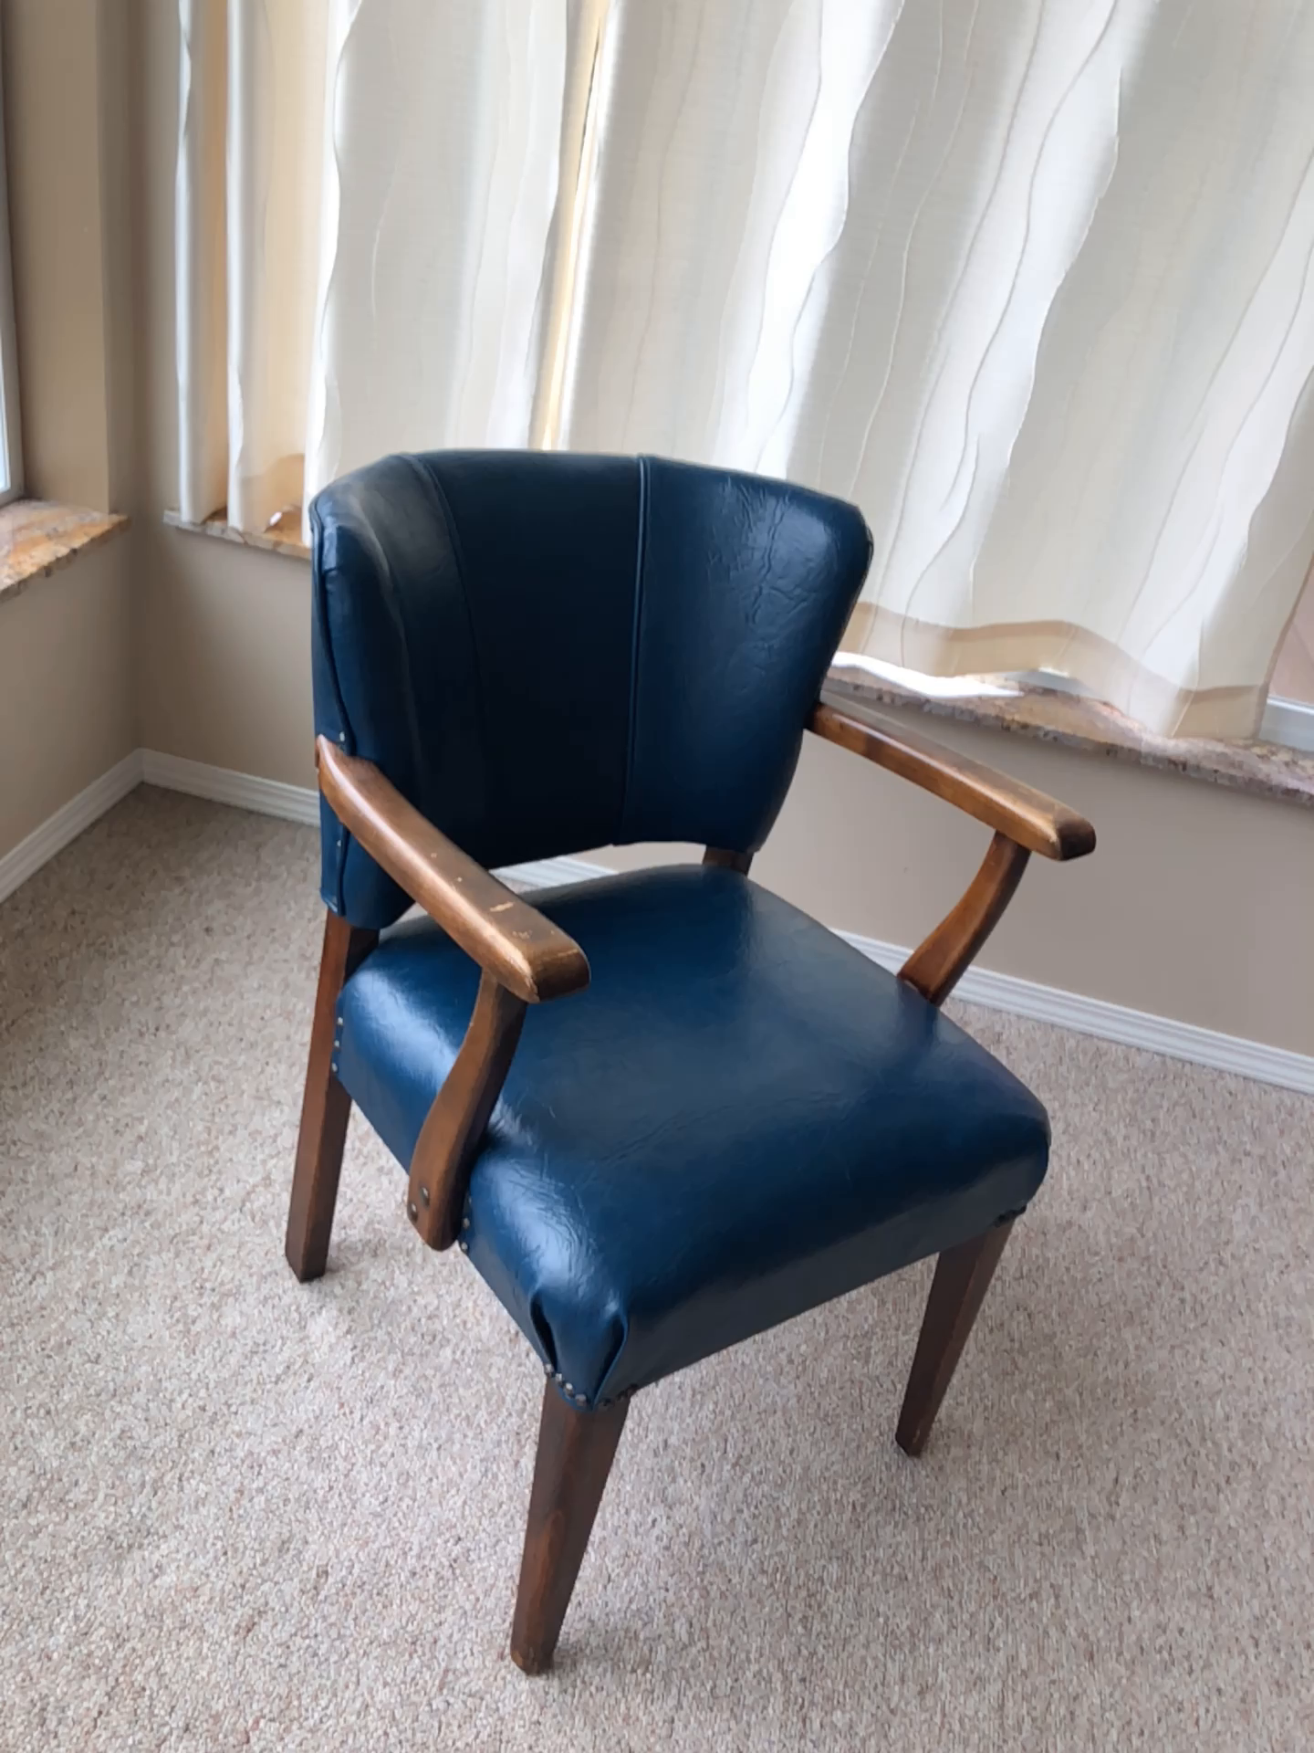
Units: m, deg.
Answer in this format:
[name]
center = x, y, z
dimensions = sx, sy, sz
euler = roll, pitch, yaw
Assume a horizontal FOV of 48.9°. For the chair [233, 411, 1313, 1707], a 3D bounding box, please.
[chair]
center = 0.018, 0.098, 1.213
dimensions = 0.531, 0.797, 0.561
euler = -13, 39, -34
